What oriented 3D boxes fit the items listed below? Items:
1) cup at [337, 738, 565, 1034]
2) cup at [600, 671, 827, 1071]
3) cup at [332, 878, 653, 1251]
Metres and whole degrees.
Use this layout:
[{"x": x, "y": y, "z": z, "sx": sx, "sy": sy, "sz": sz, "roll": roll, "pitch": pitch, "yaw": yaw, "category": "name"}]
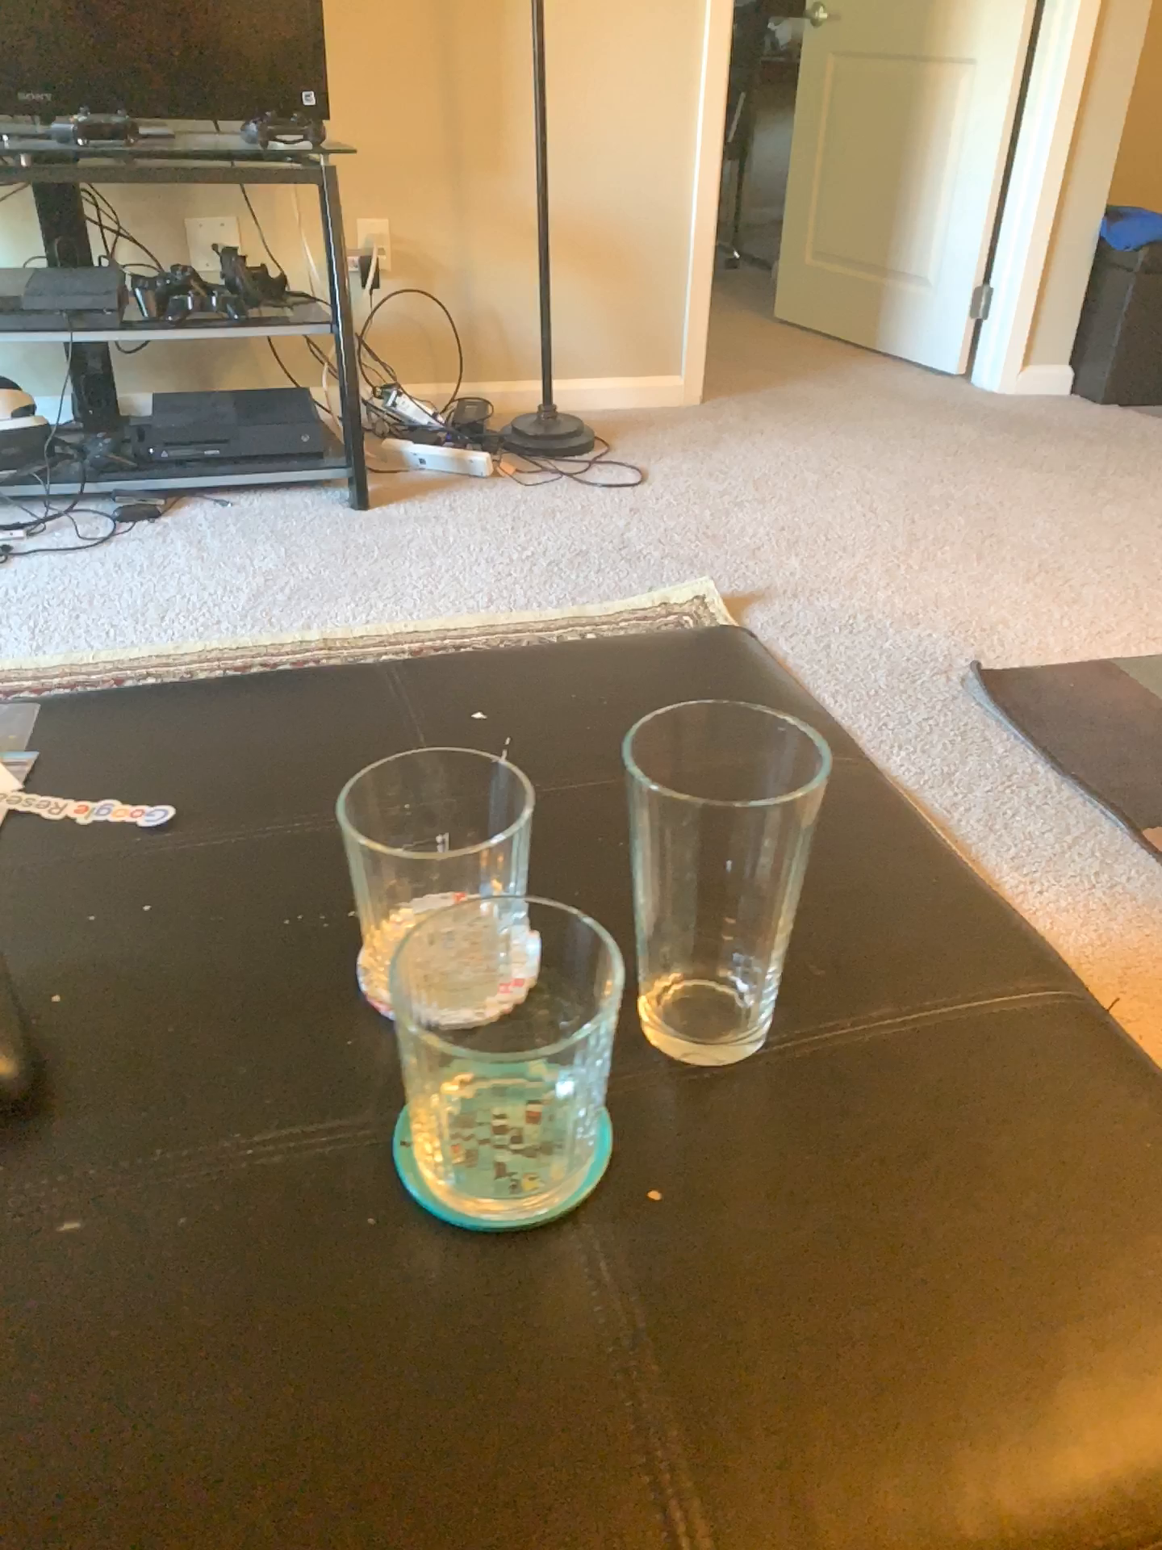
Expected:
[{"x": -0.060, "y": 0.054, "z": 0.587, "sx": 0.090, "sy": 0.109, "sz": 0.080, "roll": 6, "pitch": 33, "yaw": 7, "category": "cup"}, {"x": 0.057, "y": 0.041, "z": 0.520, "sx": 0.080, "sy": 0.139, "sz": 0.091, "roll": 6, "pitch": 33, "yaw": 7, "category": "cup"}, {"x": -0.029, "y": 0.109, "z": 0.458, "sx": 0.100, "sy": 0.089, "sz": 0.091, "roll": 6, "pitch": 33, "yaw": 7, "category": "cup"}]
